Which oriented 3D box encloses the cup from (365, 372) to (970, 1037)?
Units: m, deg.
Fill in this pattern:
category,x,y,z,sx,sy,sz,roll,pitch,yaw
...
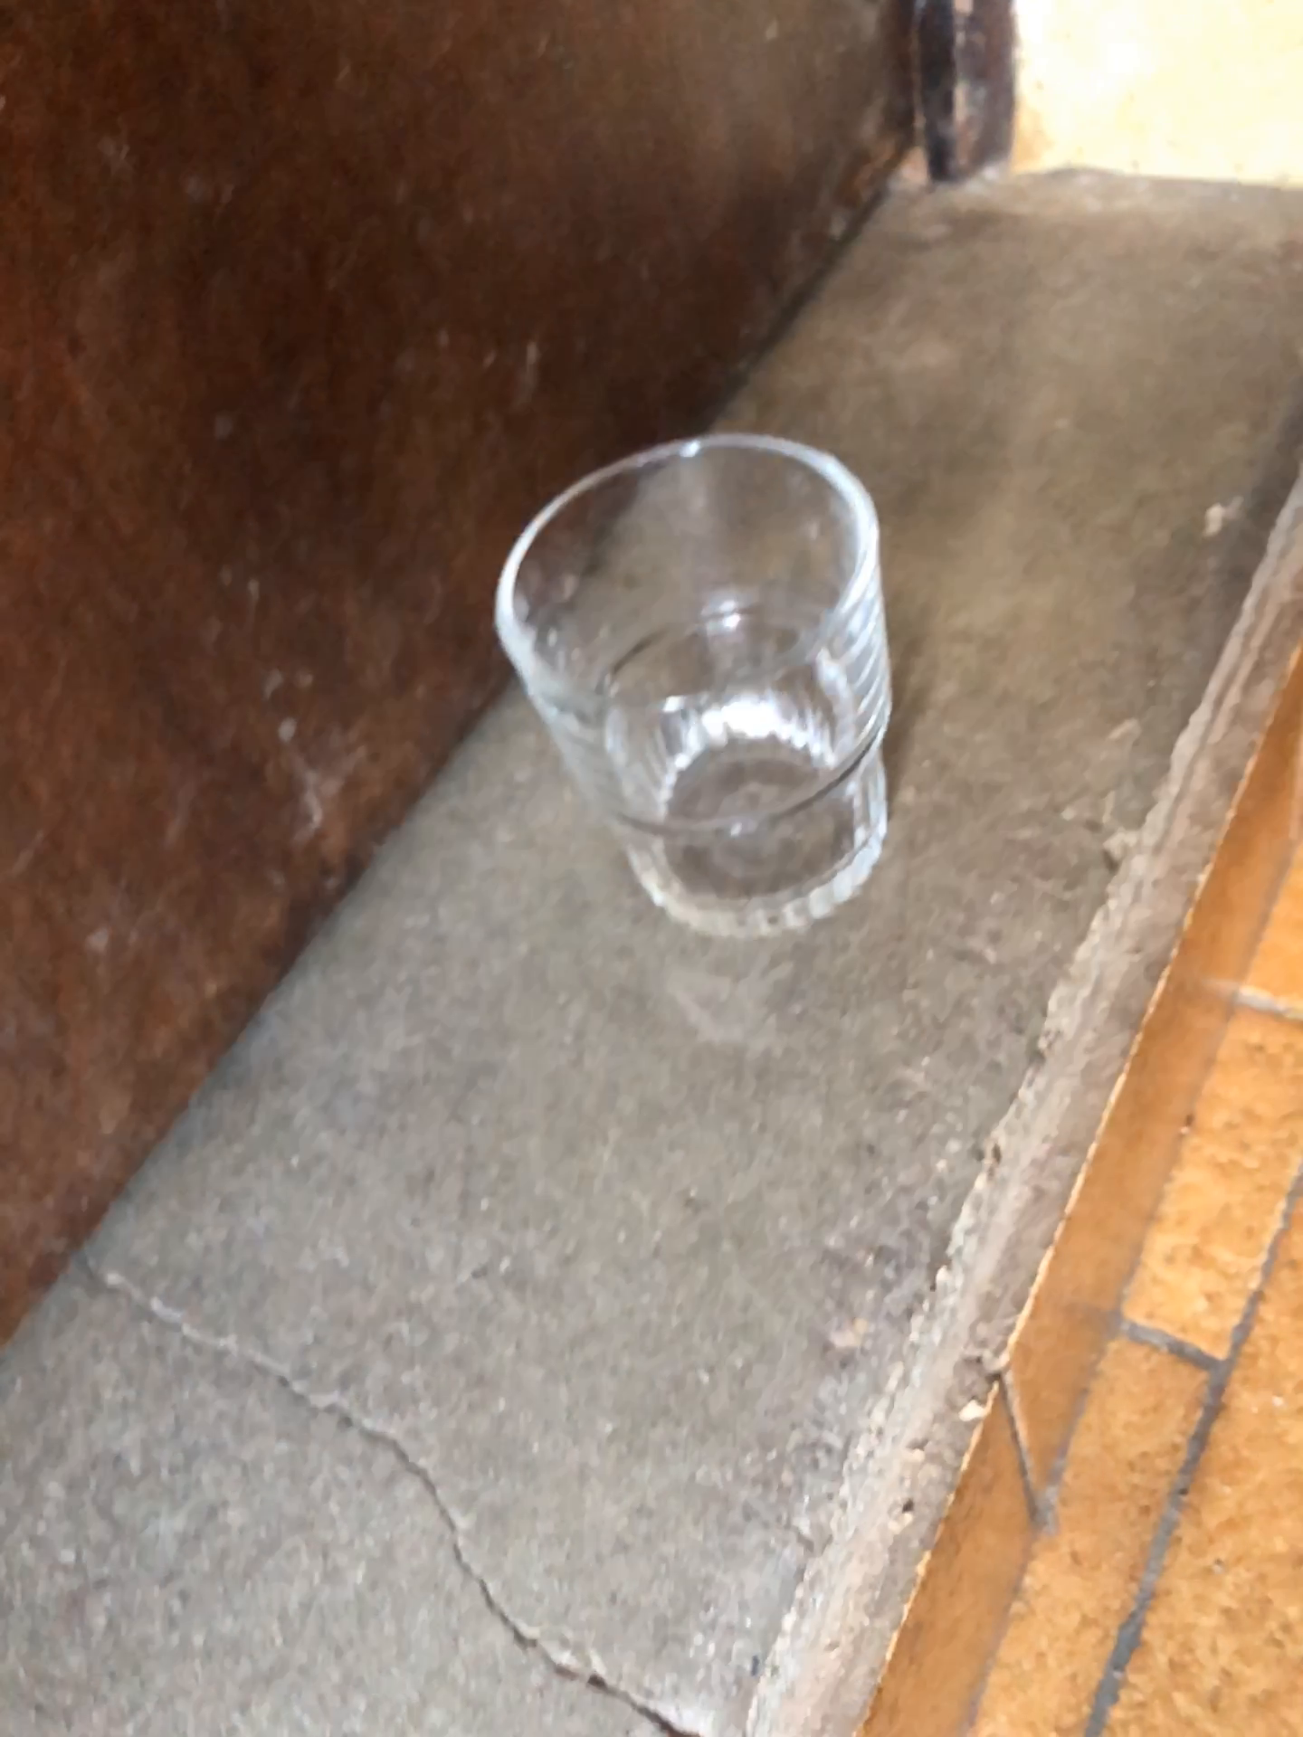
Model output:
category,x,y,z,sx,sy,sz,roll,pitch,yaw
cup,0.008,-0.031,0.276,0.070,0.080,0.070,-8,51,10
